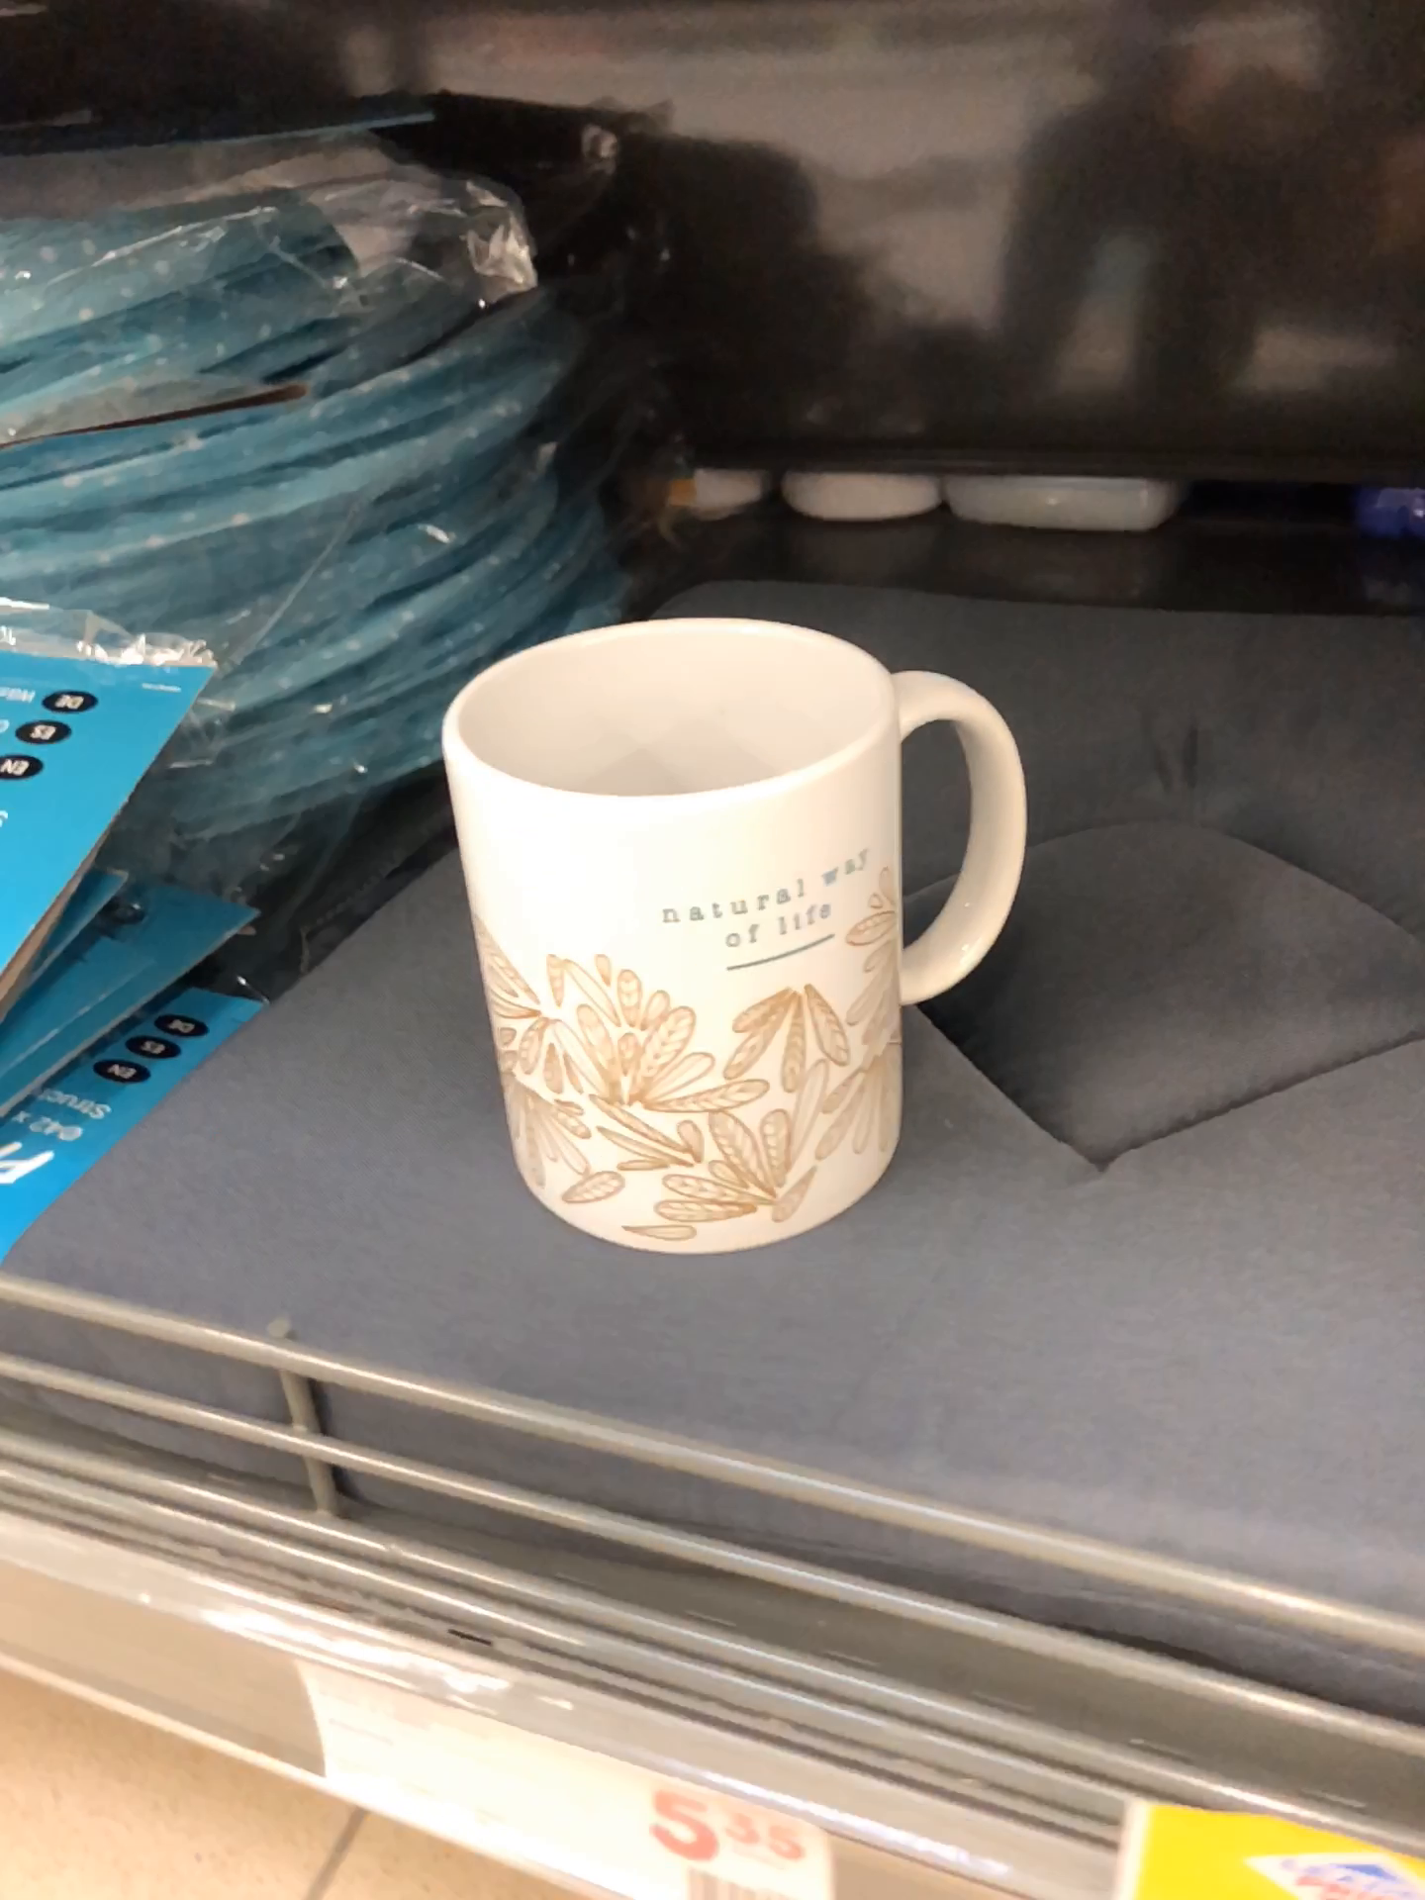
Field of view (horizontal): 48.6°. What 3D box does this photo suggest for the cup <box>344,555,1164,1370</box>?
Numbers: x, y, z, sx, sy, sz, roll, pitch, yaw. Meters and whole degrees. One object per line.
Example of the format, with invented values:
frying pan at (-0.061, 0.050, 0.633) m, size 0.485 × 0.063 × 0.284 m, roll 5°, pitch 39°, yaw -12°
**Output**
cup at (0.008, -0.006, 0.310) m, size 0.120 × 0.099 × 0.090 m, roll -18°, pitch 34°, yaw -21°
